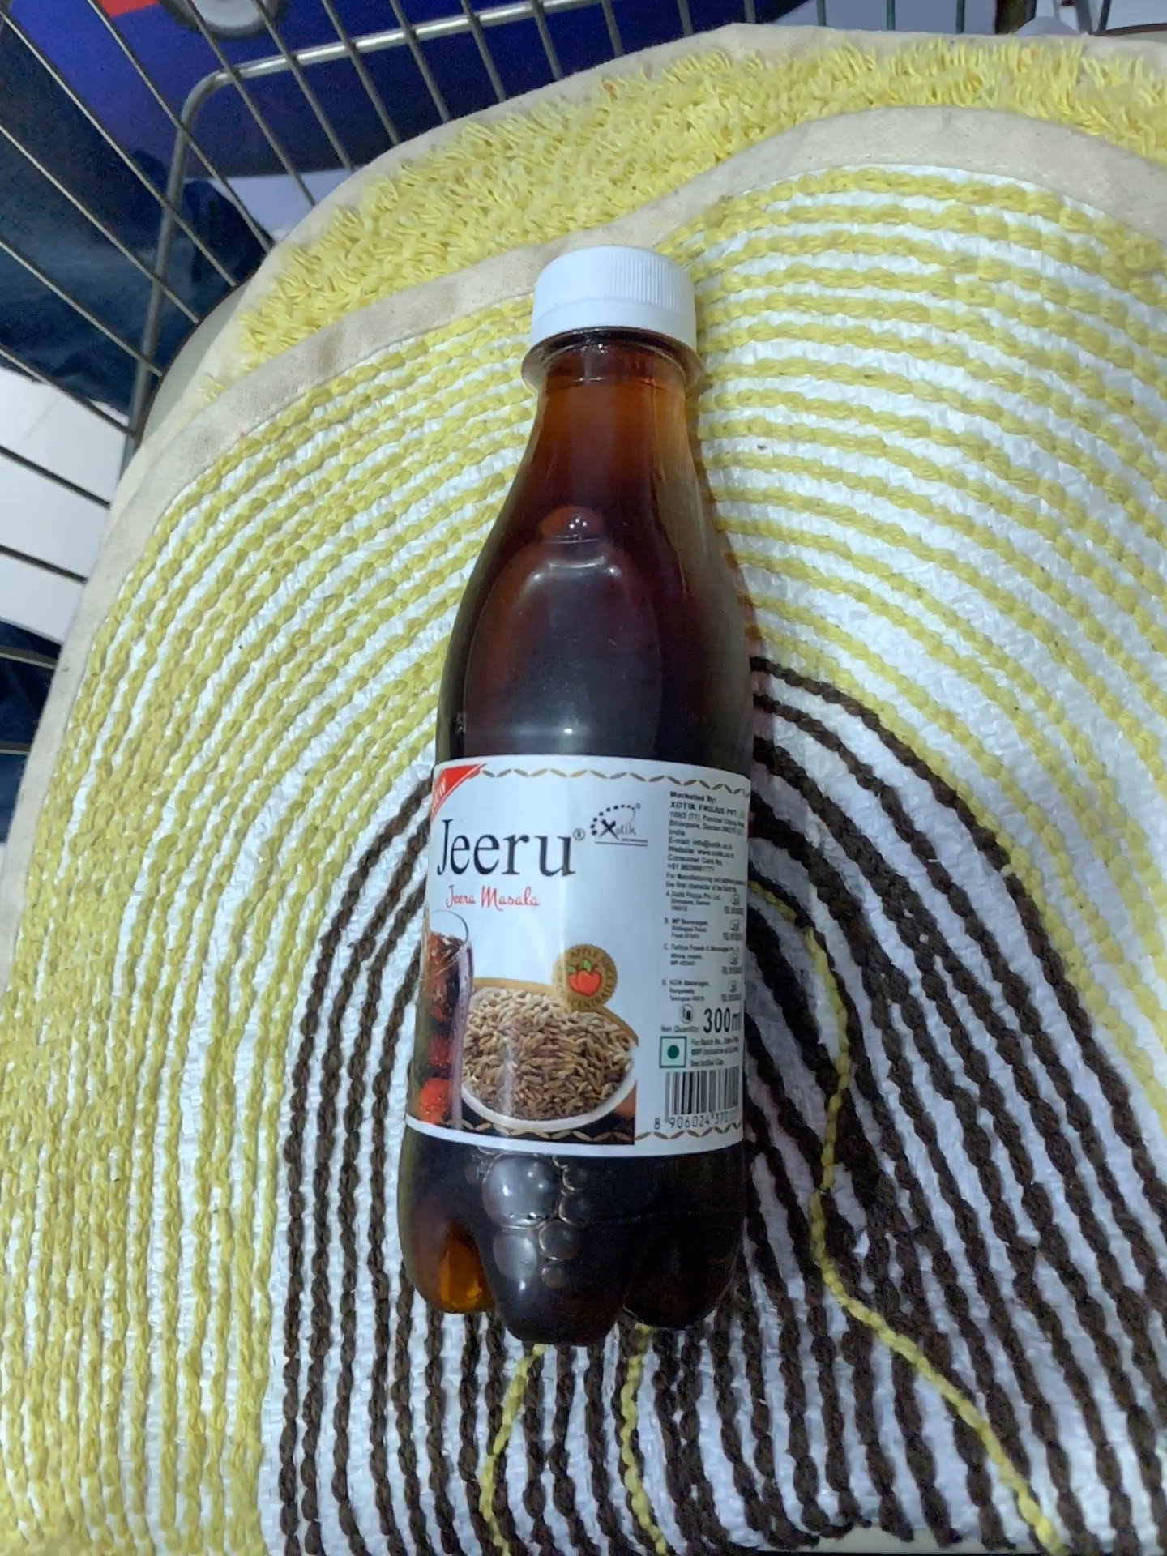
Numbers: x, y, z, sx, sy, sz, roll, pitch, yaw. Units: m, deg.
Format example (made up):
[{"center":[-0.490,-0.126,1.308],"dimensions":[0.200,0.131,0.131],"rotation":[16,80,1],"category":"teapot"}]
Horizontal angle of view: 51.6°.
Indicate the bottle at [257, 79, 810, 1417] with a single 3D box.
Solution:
[{"center":[-0.003,-0.006,0.200],"dimensions":[0.060,0.060,0.180],"rotation":[0,83,25],"category":"bottle"}]
